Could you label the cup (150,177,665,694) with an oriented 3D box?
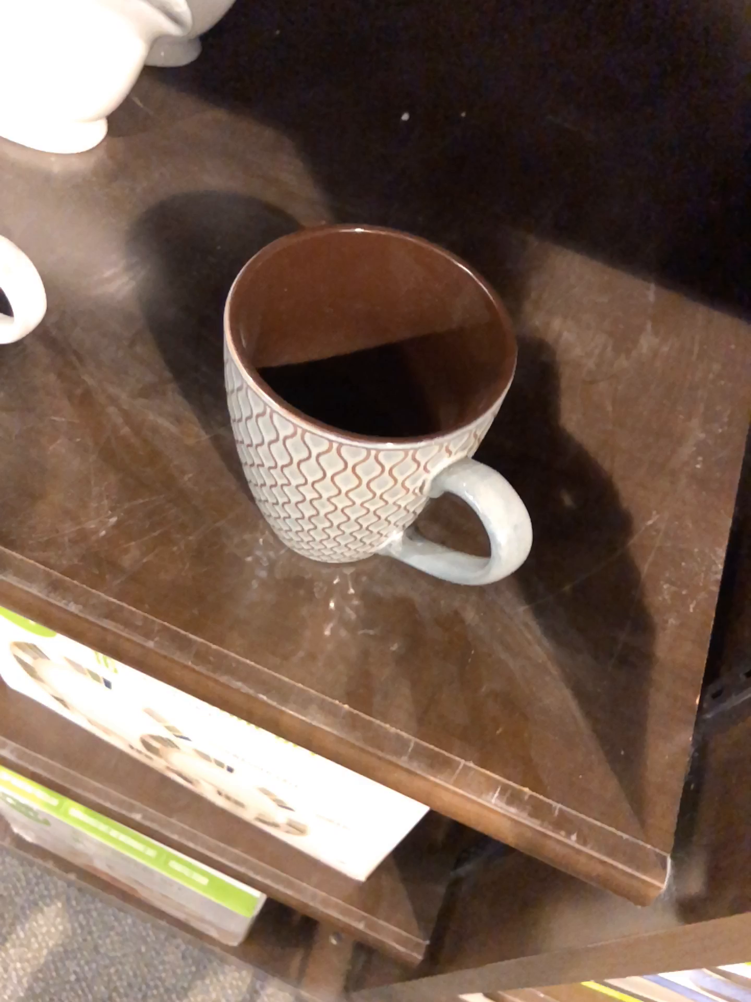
[{"bbox_3d":[0.005,-0.020,0.295,0.132,0.098,0.085,37,63,13],"label":"cup"}]
